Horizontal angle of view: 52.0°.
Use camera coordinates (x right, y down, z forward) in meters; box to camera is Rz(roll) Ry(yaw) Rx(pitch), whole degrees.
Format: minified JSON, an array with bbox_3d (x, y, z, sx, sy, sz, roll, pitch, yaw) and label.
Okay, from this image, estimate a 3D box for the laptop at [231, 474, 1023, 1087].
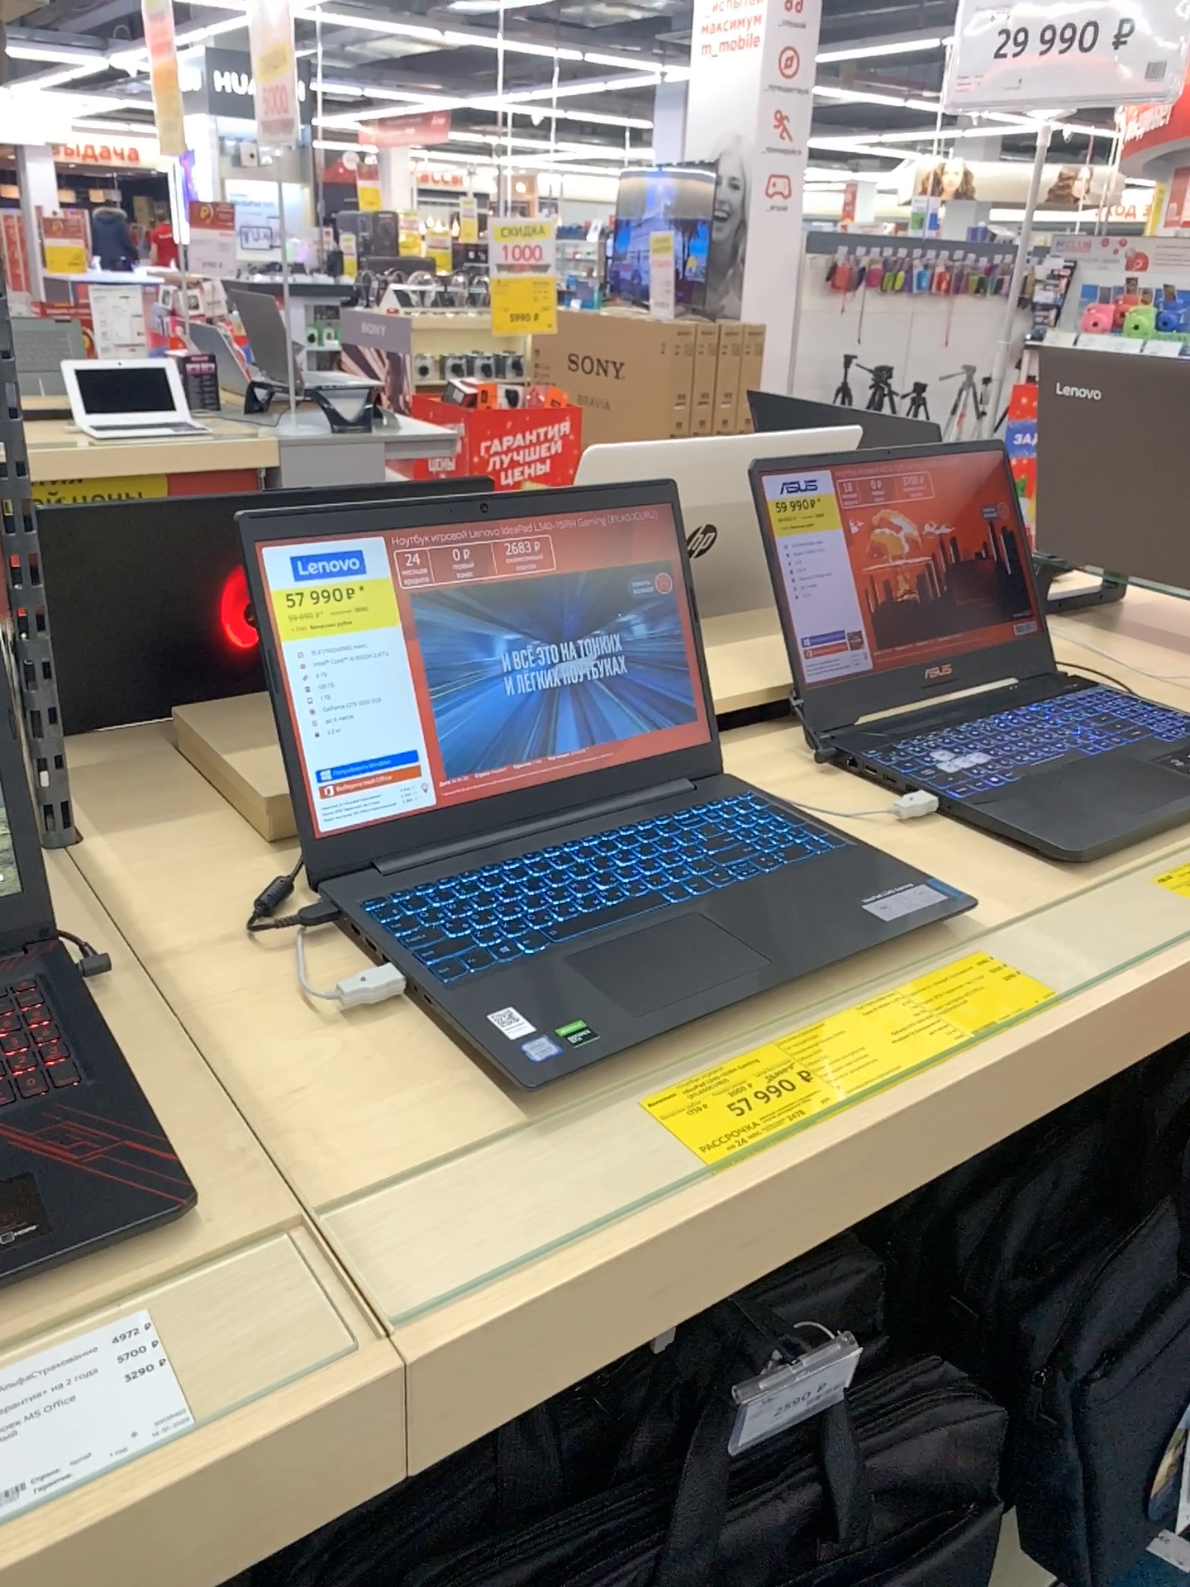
[{"bbox_3d":[0.007,-0.055,0.802,0.358,0.223,0.348,-14,29,-34],"label":"laptop"}]
